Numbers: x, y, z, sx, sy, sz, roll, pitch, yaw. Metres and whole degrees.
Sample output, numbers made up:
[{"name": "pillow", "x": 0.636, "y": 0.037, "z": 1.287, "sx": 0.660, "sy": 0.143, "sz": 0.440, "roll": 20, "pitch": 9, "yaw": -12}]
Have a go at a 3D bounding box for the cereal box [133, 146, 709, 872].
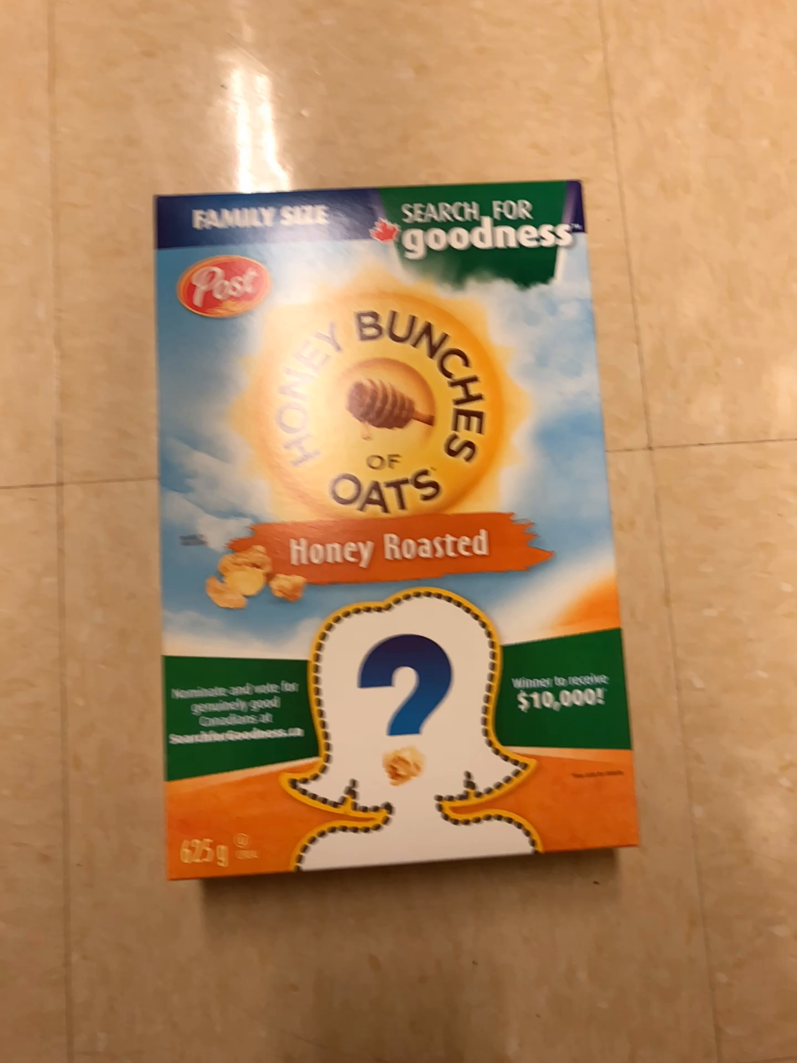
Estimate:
[{"name": "cereal box", "x": 0.003, "y": -0.016, "z": 0.382, "sx": 0.210, "sy": 0.070, "sz": 0.290, "roll": -1, "pitch": 78, "yaw": -4}]
